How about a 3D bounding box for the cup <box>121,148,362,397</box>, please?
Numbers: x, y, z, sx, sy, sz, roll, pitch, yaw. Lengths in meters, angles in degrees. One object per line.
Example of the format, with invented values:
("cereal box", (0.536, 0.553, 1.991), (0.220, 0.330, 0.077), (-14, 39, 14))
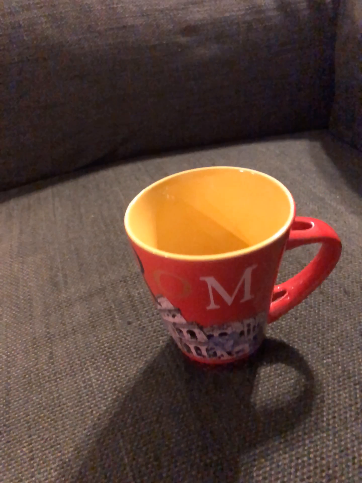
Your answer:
("cup", (0.033, 0.017, 0.250), (0.120, 0.099, 0.091), (-9, 37, -2))
